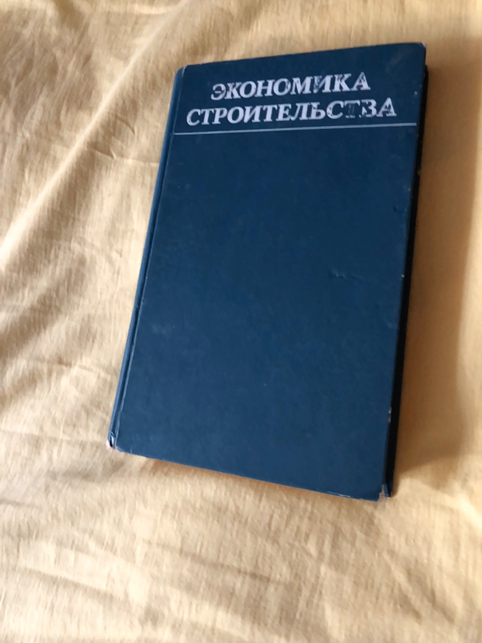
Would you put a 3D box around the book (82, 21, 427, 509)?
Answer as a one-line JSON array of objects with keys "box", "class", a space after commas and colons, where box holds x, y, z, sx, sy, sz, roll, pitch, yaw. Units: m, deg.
[{"box": [0.009, -0.032, 0.248, 0.130, 0.030, 0.200, 5, 80, 21], "class": "book"}]
